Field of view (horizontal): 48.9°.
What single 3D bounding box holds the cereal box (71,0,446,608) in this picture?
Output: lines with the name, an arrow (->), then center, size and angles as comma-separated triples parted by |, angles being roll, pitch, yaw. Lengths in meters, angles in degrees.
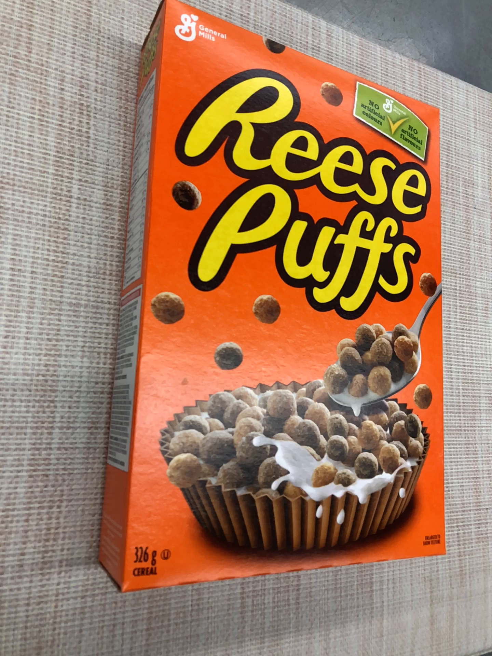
cereal box -> 0.022, -0.015, 0.308 | 0.200, 0.060, 0.280 | 7, 81, -31
